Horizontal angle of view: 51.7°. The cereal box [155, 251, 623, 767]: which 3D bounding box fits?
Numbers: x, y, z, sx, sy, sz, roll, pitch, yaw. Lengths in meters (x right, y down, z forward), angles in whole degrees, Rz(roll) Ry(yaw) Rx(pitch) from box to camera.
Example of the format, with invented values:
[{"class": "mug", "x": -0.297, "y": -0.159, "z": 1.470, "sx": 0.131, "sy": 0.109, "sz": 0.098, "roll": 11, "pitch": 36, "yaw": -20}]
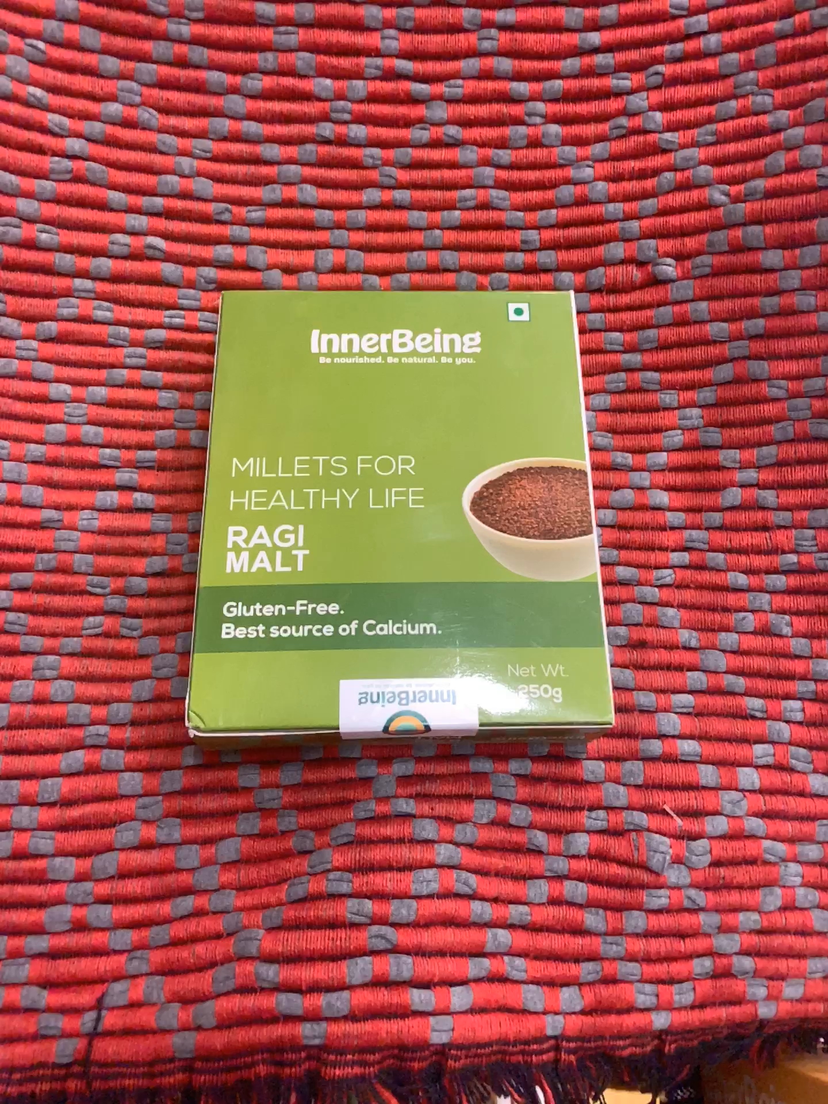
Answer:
[{"class": "cereal box", "x": -0.008, "y": -0.018, "z": 0.293, "sx": 0.130, "sy": 0.050, "sz": 0.170, "roll": 0, "pitch": 68, "yaw": -1}]
